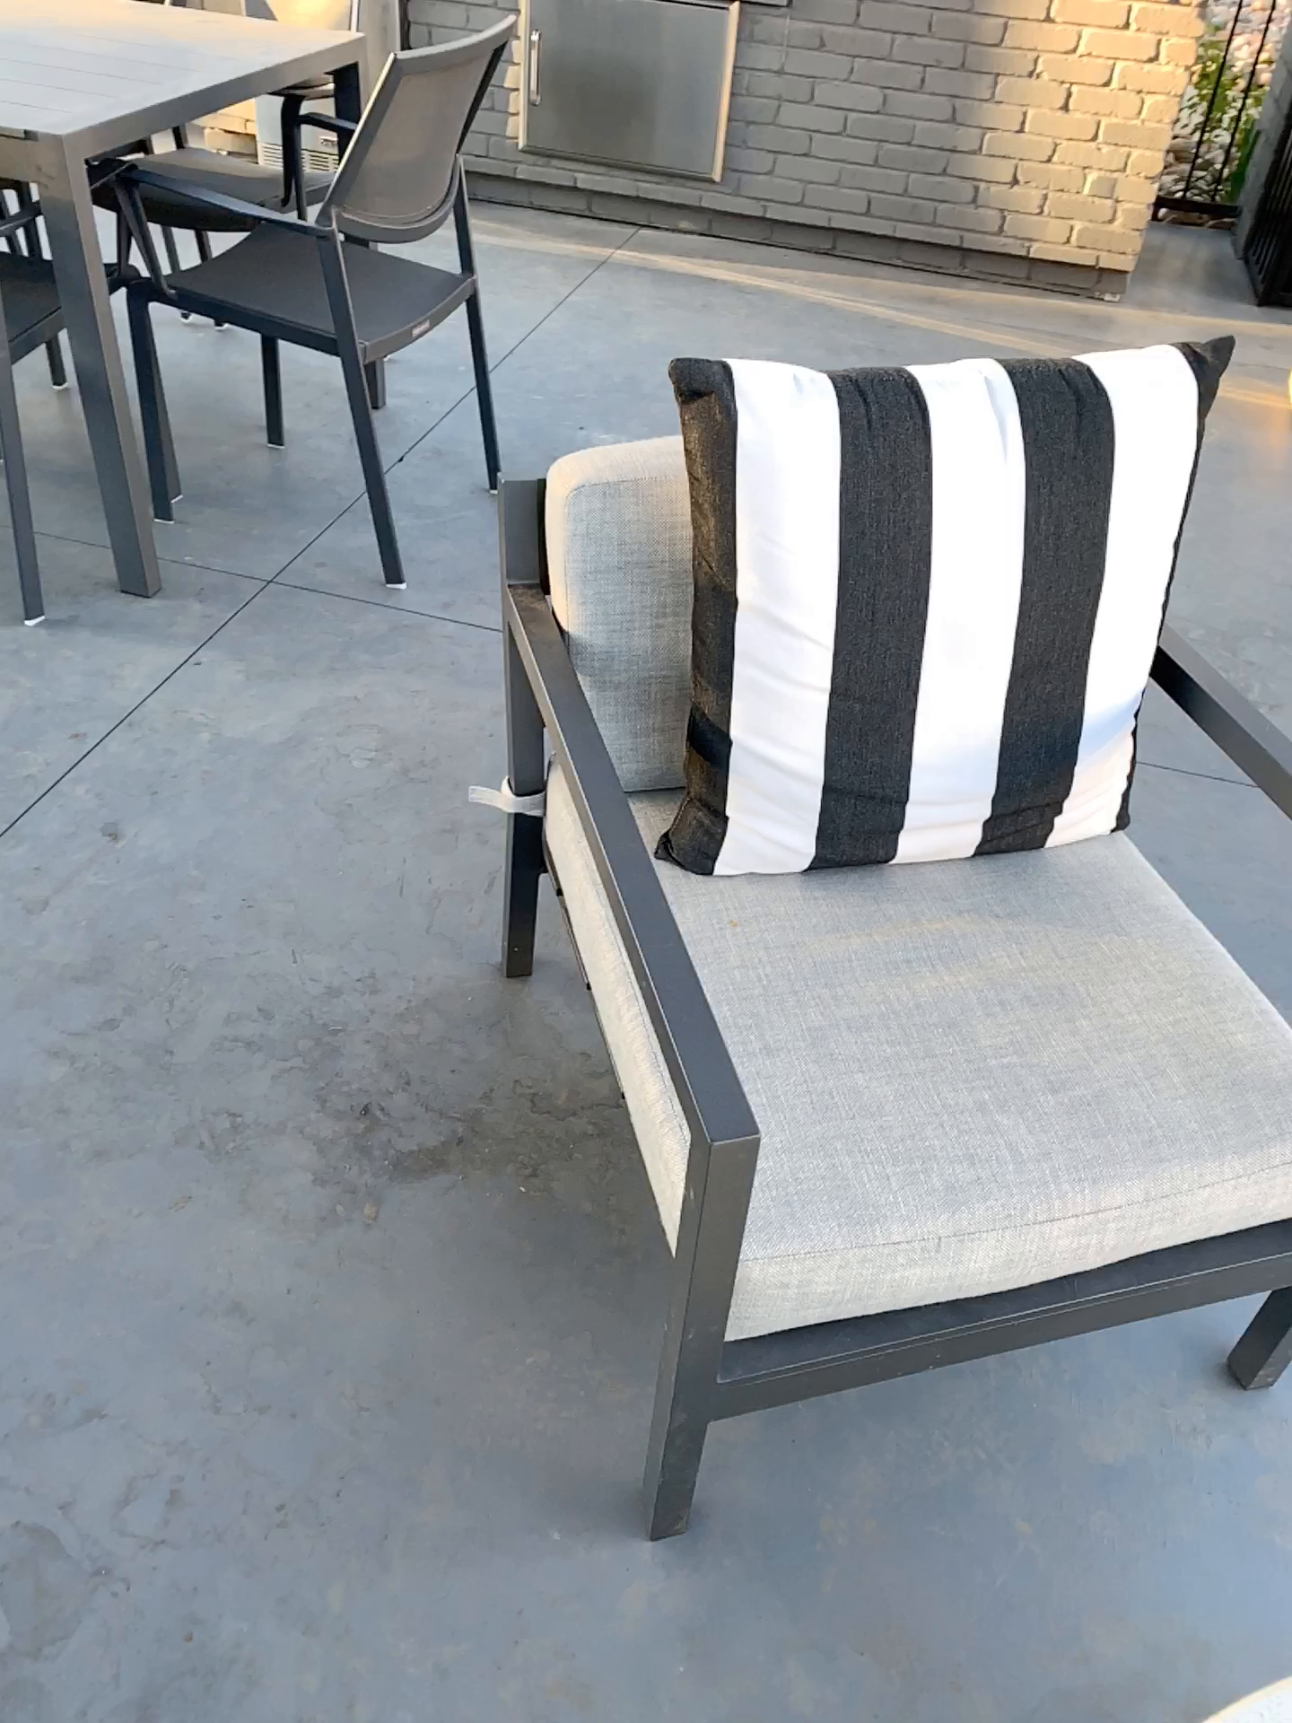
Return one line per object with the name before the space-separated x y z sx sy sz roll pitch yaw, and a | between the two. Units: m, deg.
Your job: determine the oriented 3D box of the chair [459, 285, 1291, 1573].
chair | 0.264 0.008 1.218 0.730 0.796 0.753 -8 42 -15
